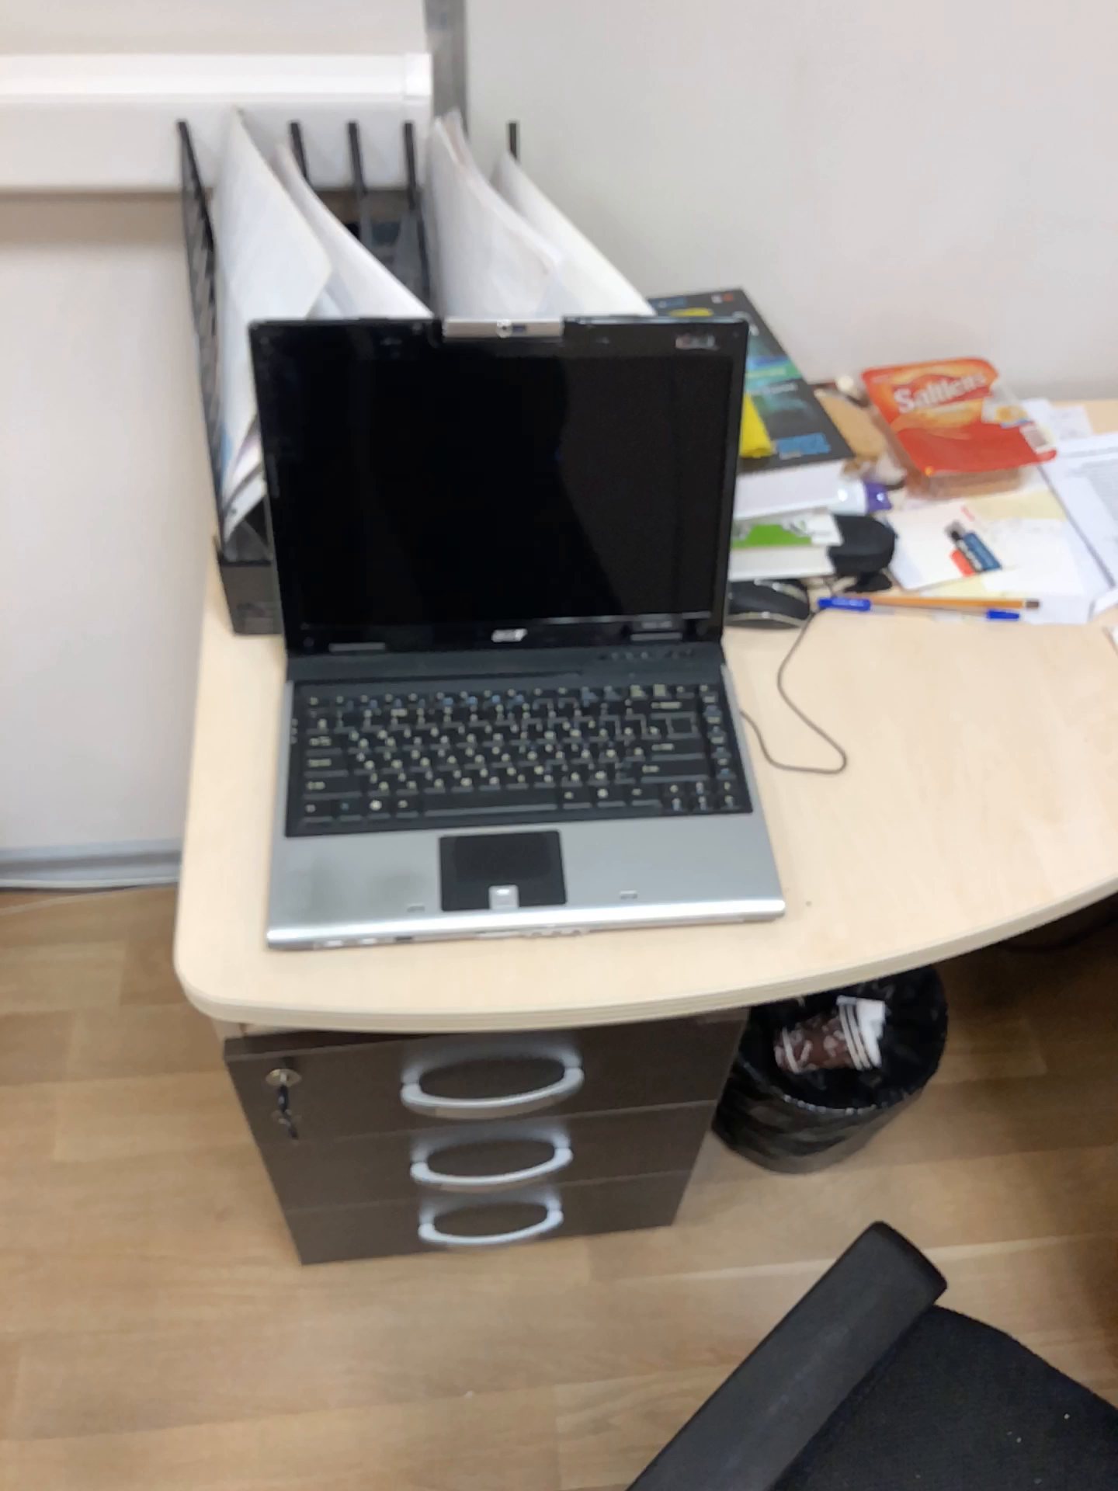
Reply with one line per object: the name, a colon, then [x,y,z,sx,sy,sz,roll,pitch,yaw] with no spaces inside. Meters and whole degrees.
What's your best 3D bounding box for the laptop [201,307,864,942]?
laptop: [-0.027,-0.084,0.792,0.326,0.219,0.324,-3,52,-5]
